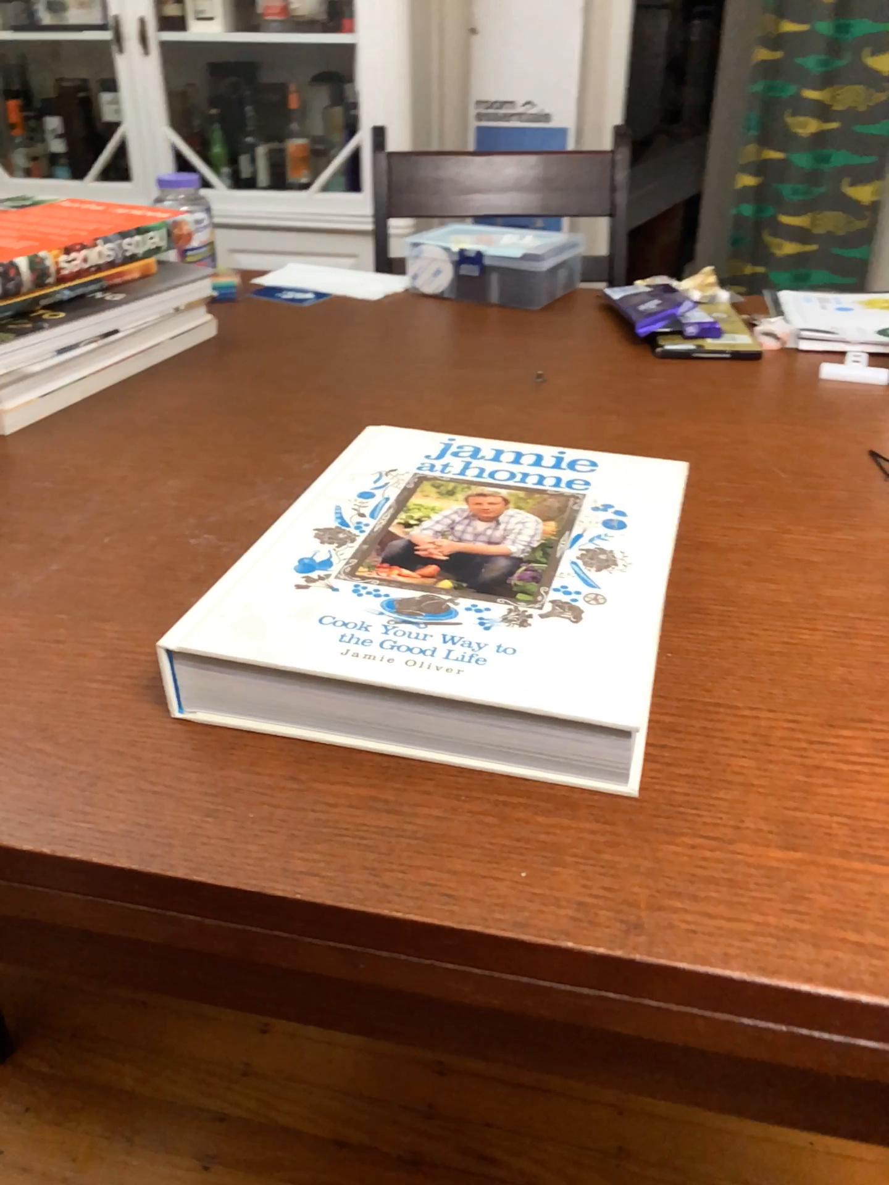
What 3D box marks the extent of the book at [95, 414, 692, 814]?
[{"bbox_3d":[0.001,-0.015,0.474,0.210,0.040,0.261,8,31,14],"label":"book"}]
